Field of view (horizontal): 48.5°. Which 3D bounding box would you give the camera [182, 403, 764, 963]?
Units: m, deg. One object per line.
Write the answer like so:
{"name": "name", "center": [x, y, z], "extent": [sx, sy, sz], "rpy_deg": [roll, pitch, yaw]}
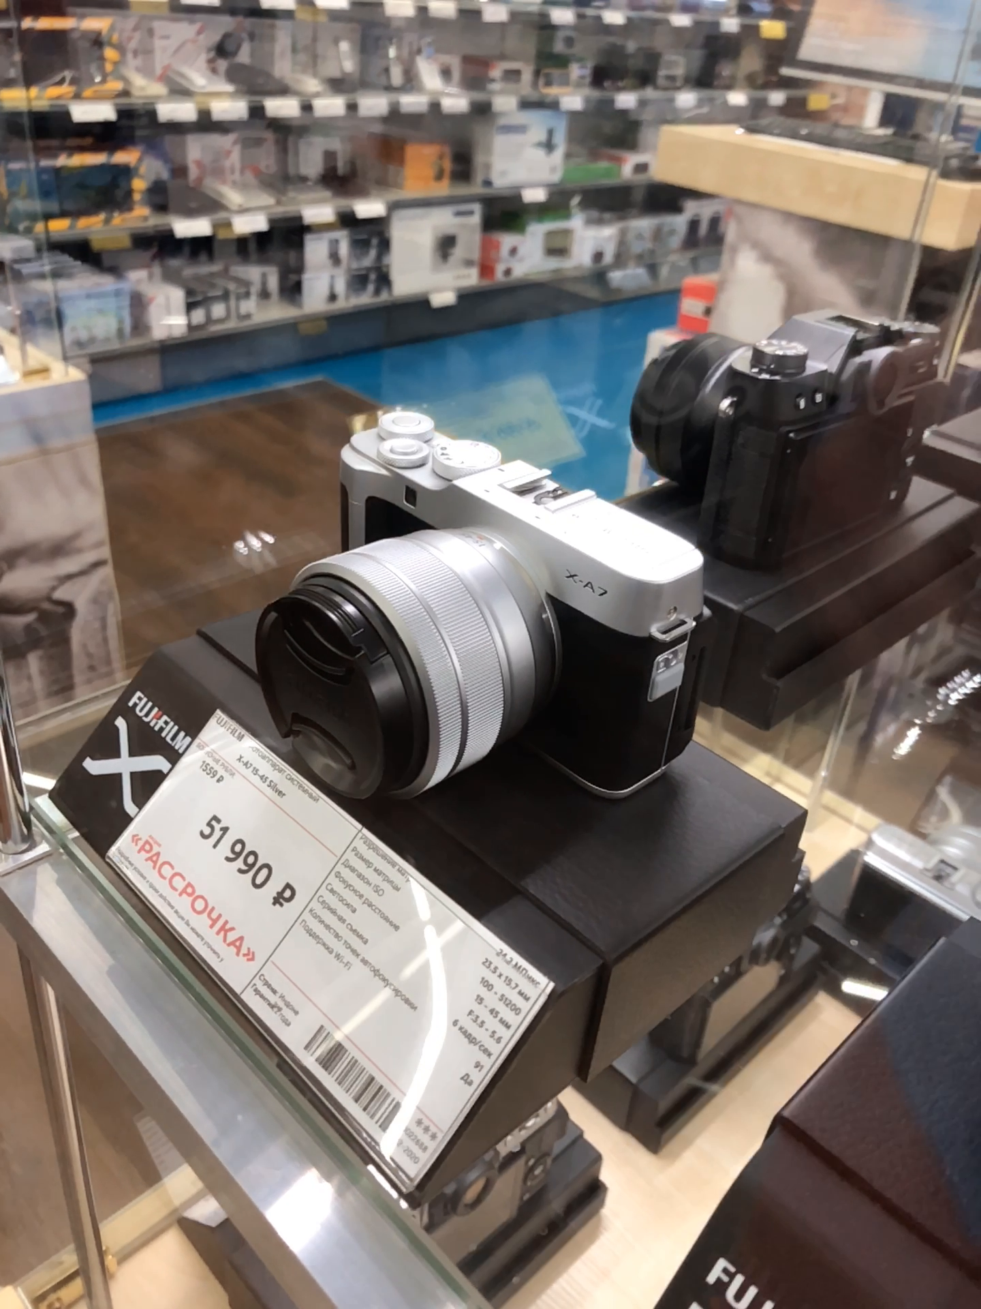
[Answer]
{"name": "camera", "center": [-0.011, -0.003, 0.294], "extent": [0.084, 0.080, 0.126], "rpy_deg": [-23, 41, -37]}

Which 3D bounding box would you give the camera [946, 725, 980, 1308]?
{"name": "camera", "center": [0.156, 0.087, 0.163], "extent": [0.096, 0.080, 0.115], "rpy_deg": [-24, 42, -38]}

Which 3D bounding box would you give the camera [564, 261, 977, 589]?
{"name": "camera", "center": [0.107, -0.096, 0.426], "extent": [0.097, 0.080, 0.115], "rpy_deg": [31, 40, 35]}
